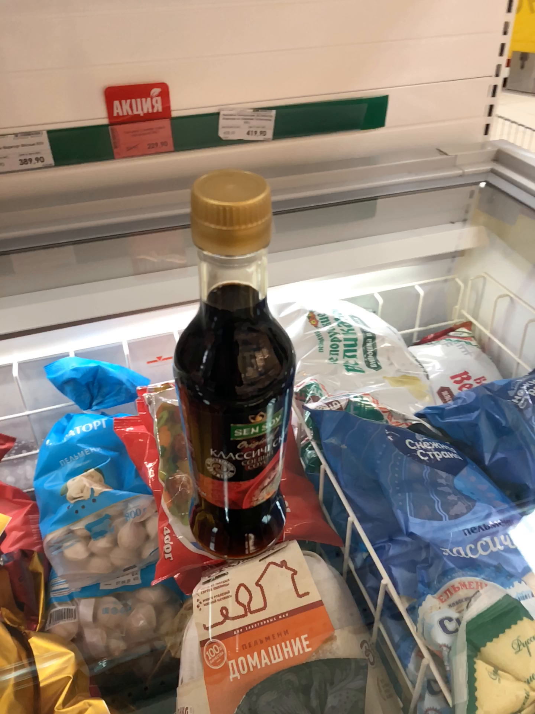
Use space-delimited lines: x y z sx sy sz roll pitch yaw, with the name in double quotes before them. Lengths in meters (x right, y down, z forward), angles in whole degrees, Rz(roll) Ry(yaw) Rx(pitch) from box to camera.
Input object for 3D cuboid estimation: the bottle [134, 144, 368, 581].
"bottle" -0.011 0.013 0.269 0.058 0.192 0.060 2 40 -2
